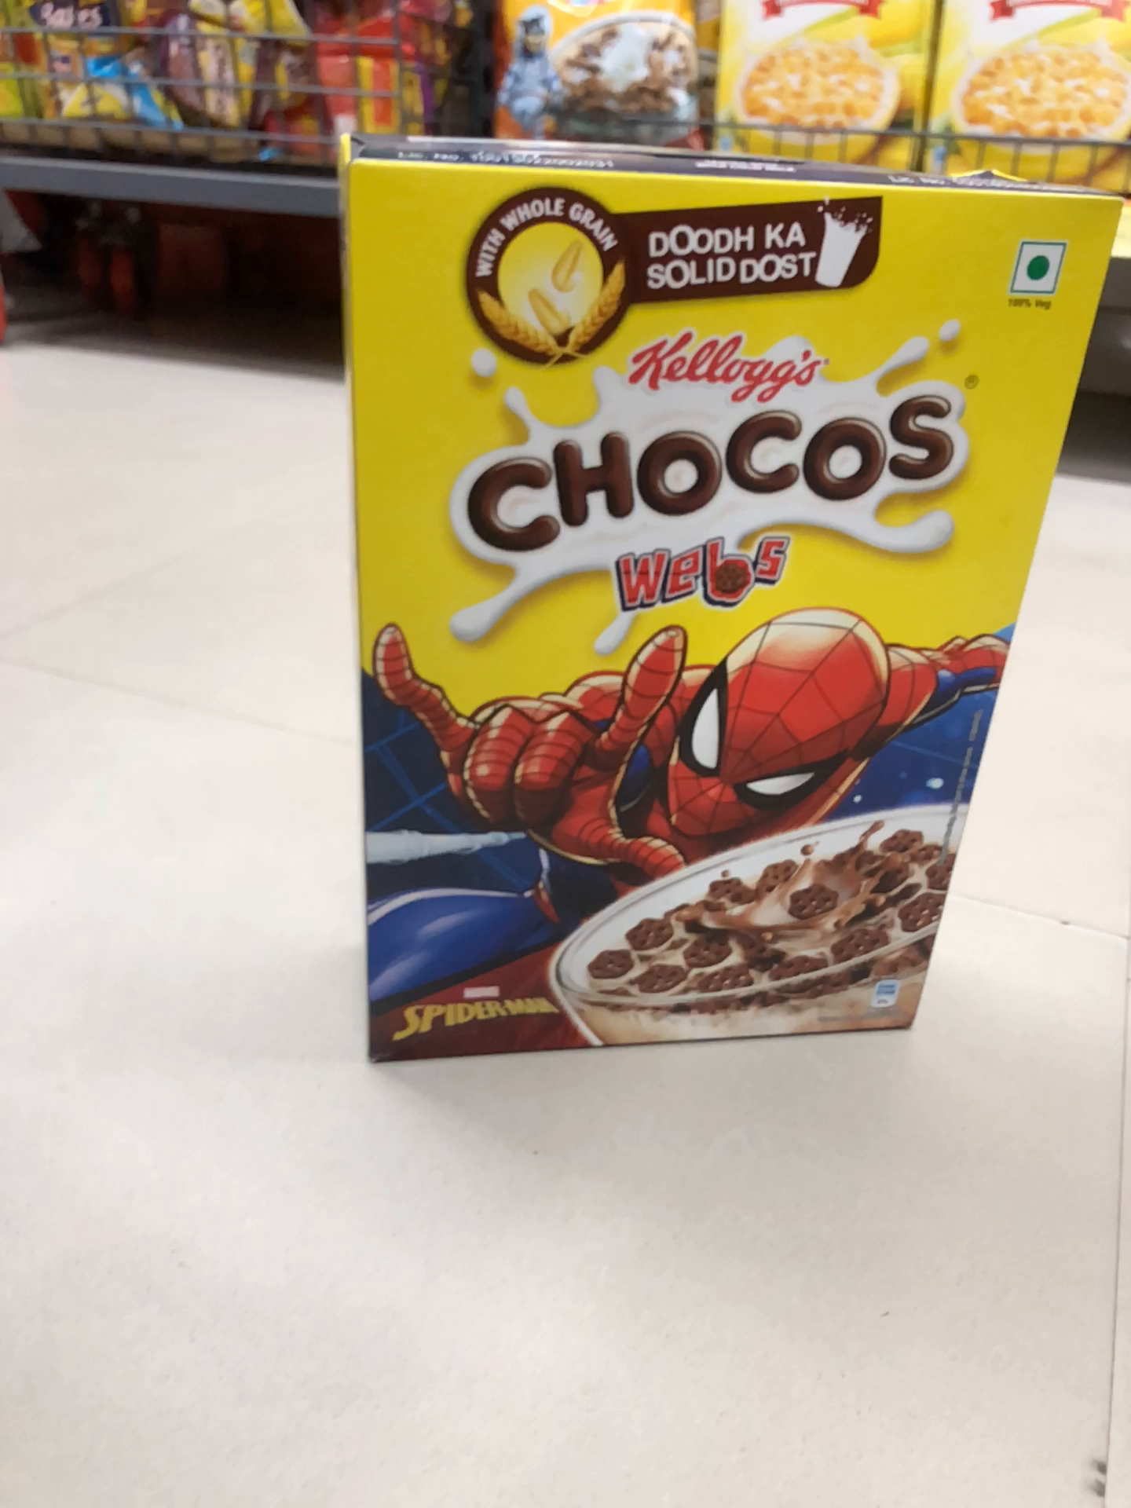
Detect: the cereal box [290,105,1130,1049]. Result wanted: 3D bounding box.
[{"bbox_3d":[0.030,-0.041,0.342,0.190,0.229,0.080,-1,29,-9],"label":"cereal box"}]
